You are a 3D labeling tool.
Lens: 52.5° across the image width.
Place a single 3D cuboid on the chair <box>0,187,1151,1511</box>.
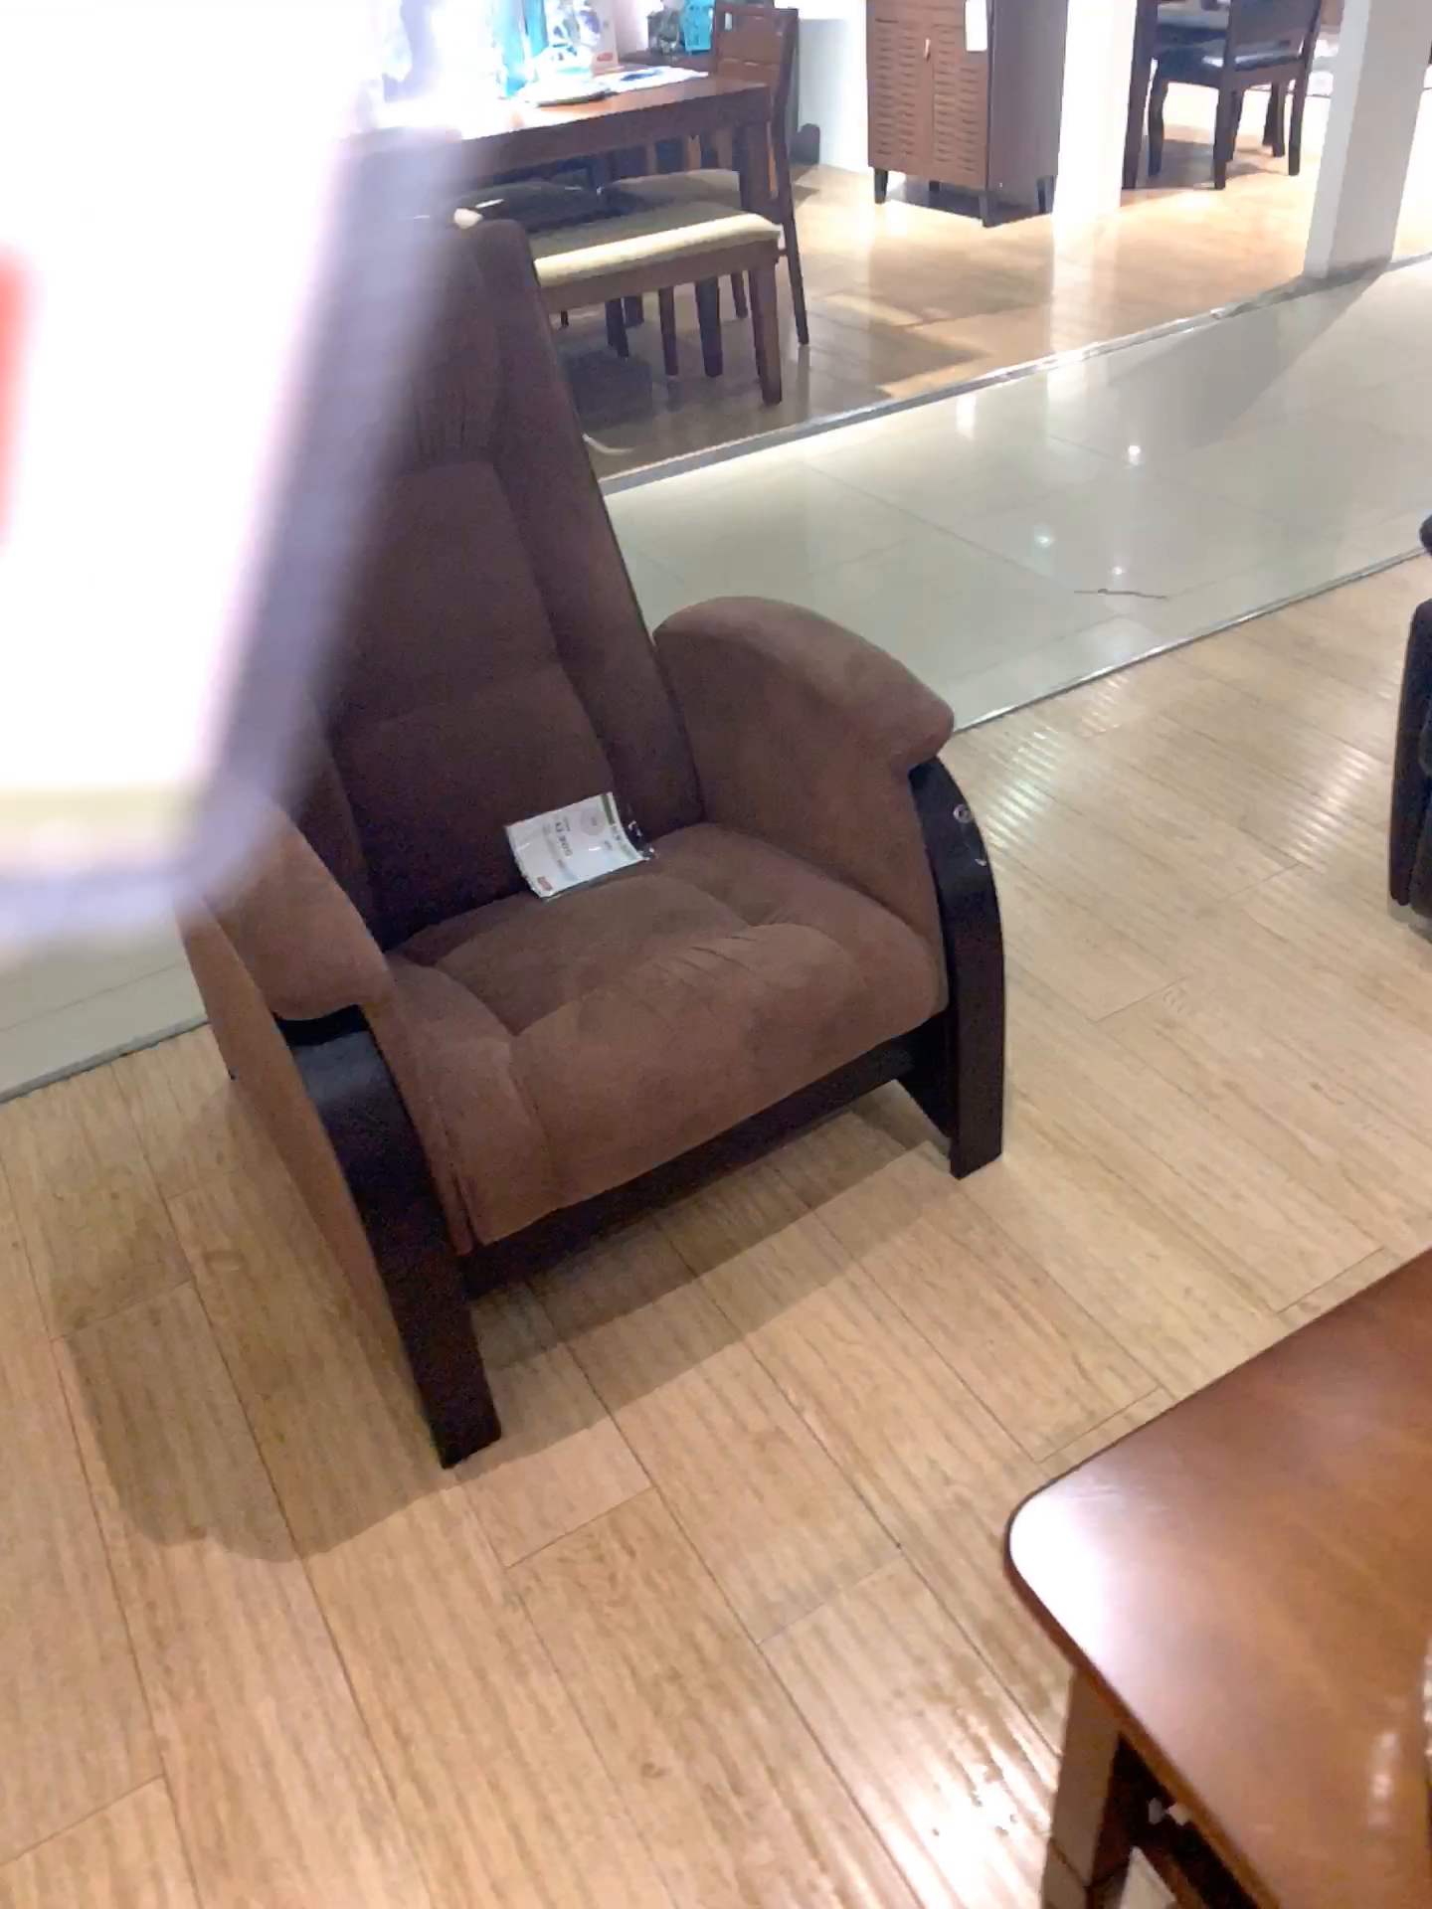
[{"bbox_3d":[-0.230,-0.223,1.597,0.800,0.886,1.004,-24,41,-23],"label":"chair"}]
